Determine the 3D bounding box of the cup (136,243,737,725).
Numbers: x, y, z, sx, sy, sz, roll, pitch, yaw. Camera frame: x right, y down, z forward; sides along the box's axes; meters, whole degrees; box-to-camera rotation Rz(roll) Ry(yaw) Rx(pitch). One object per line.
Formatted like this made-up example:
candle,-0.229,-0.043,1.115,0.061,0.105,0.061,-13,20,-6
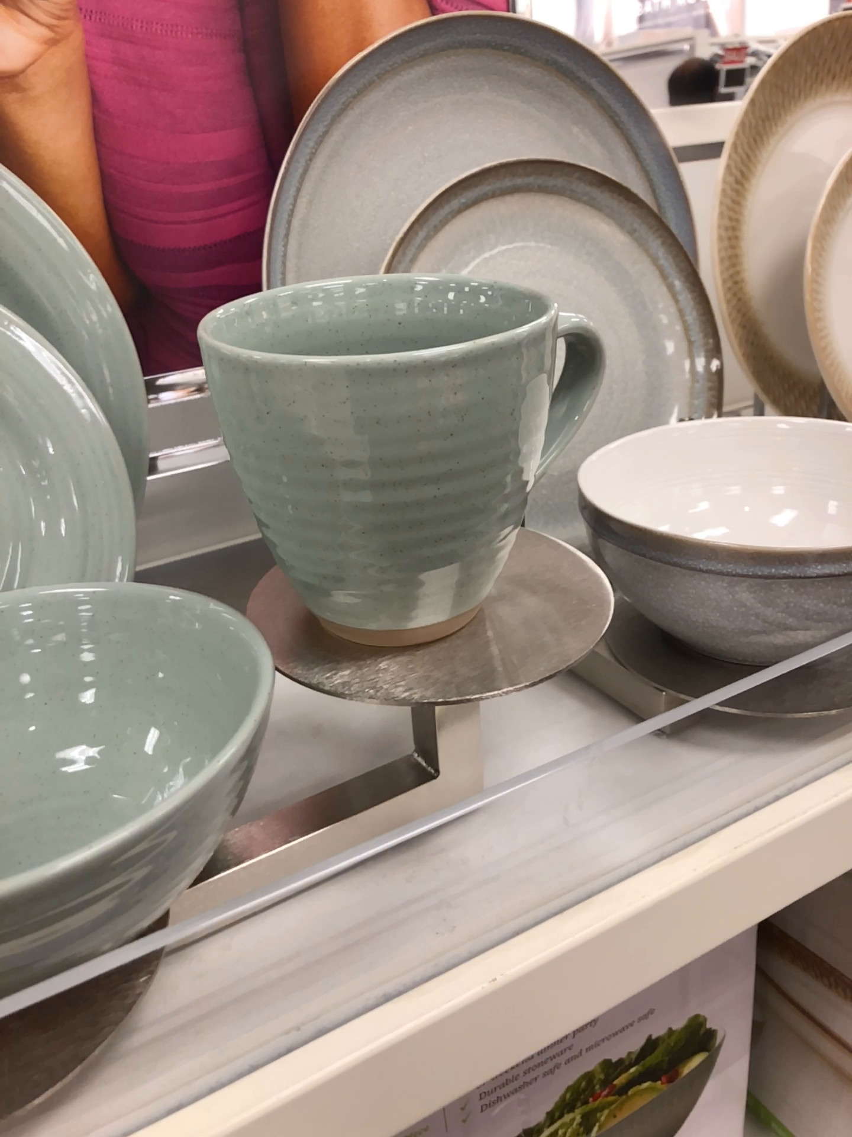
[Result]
cup,0.004,-0.041,0.293,0.129,0.091,0.116,-23,32,-34
